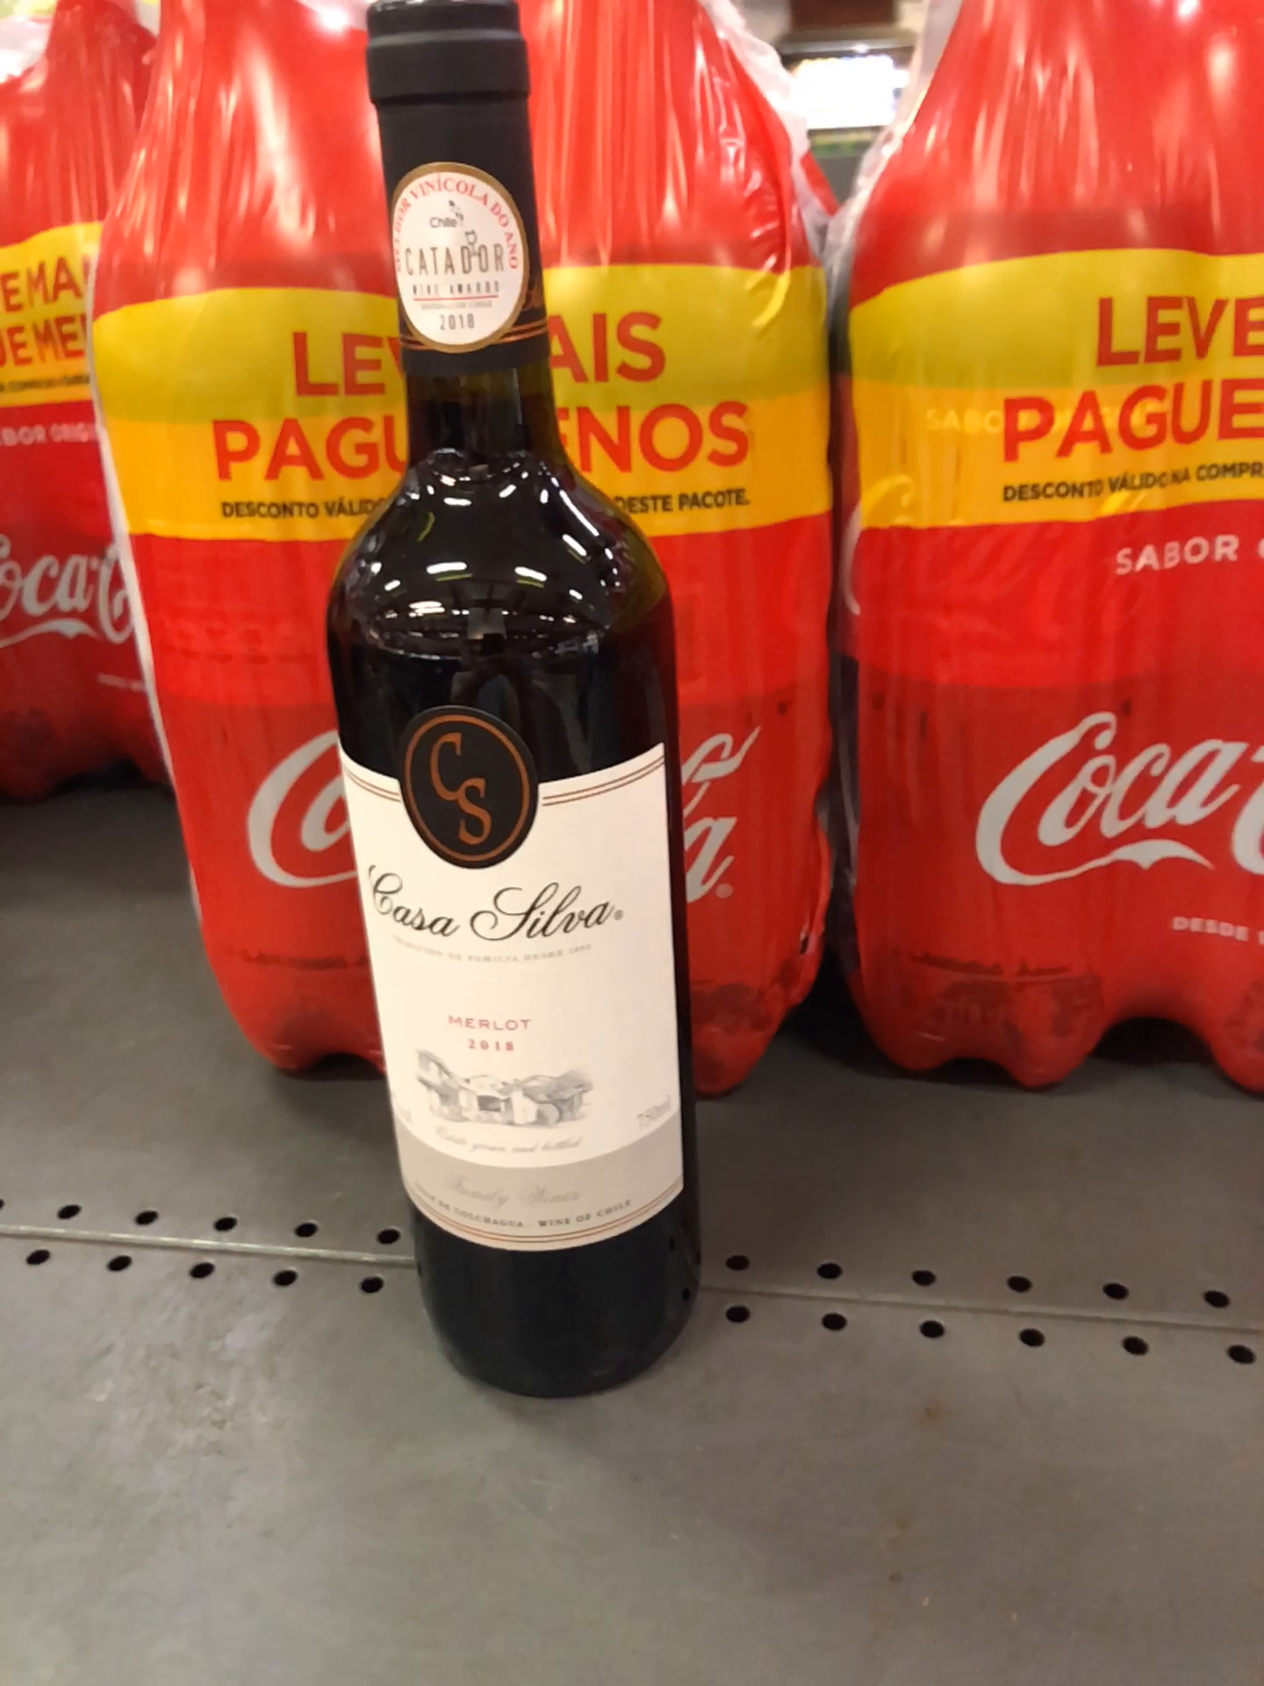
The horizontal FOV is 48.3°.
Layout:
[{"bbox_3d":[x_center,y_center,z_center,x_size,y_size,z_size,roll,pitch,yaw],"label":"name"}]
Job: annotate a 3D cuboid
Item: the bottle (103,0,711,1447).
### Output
[{"bbox_3d":[-0.029,-0.012,0.306,0.080,0.308,0.071,2,26,9],"label":"bottle"}]
